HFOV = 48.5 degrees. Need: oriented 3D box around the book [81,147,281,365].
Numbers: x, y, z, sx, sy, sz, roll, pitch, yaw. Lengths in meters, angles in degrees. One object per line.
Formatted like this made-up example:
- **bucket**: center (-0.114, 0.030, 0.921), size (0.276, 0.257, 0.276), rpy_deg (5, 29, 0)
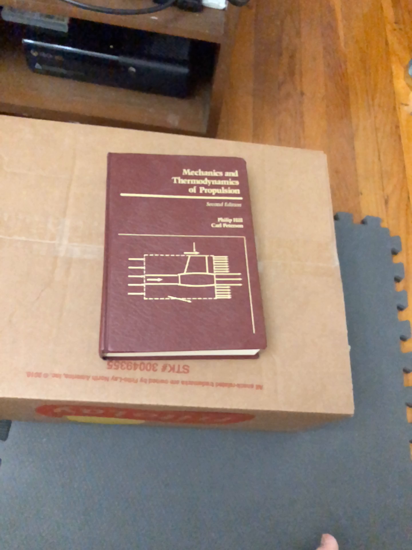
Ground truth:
- **book**: center (-0.028, -0.026, 0.501), size (0.190, 0.040, 0.241), rpy_deg (1, 66, -7)
